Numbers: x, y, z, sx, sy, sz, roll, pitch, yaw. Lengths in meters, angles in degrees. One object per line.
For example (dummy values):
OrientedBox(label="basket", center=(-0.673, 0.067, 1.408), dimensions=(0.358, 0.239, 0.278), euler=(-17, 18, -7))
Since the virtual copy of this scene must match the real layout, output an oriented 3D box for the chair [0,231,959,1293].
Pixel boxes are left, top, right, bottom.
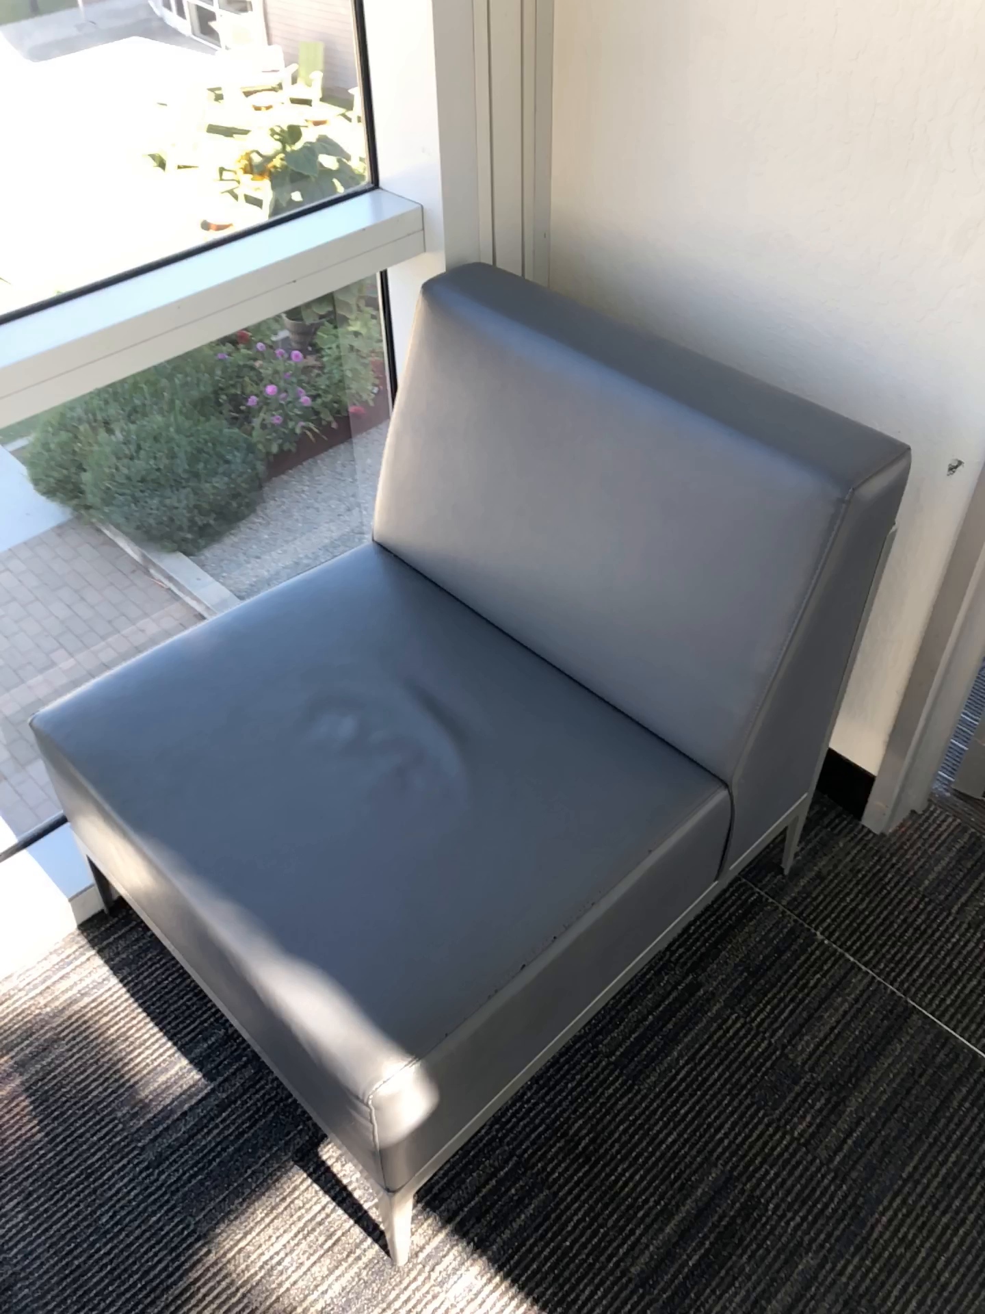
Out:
OrientedBox(label="chair", center=(-0.080, 0.052, 1.311), dimensions=(0.751, 0.707, 0.772), euler=(-33, 52, -29))
